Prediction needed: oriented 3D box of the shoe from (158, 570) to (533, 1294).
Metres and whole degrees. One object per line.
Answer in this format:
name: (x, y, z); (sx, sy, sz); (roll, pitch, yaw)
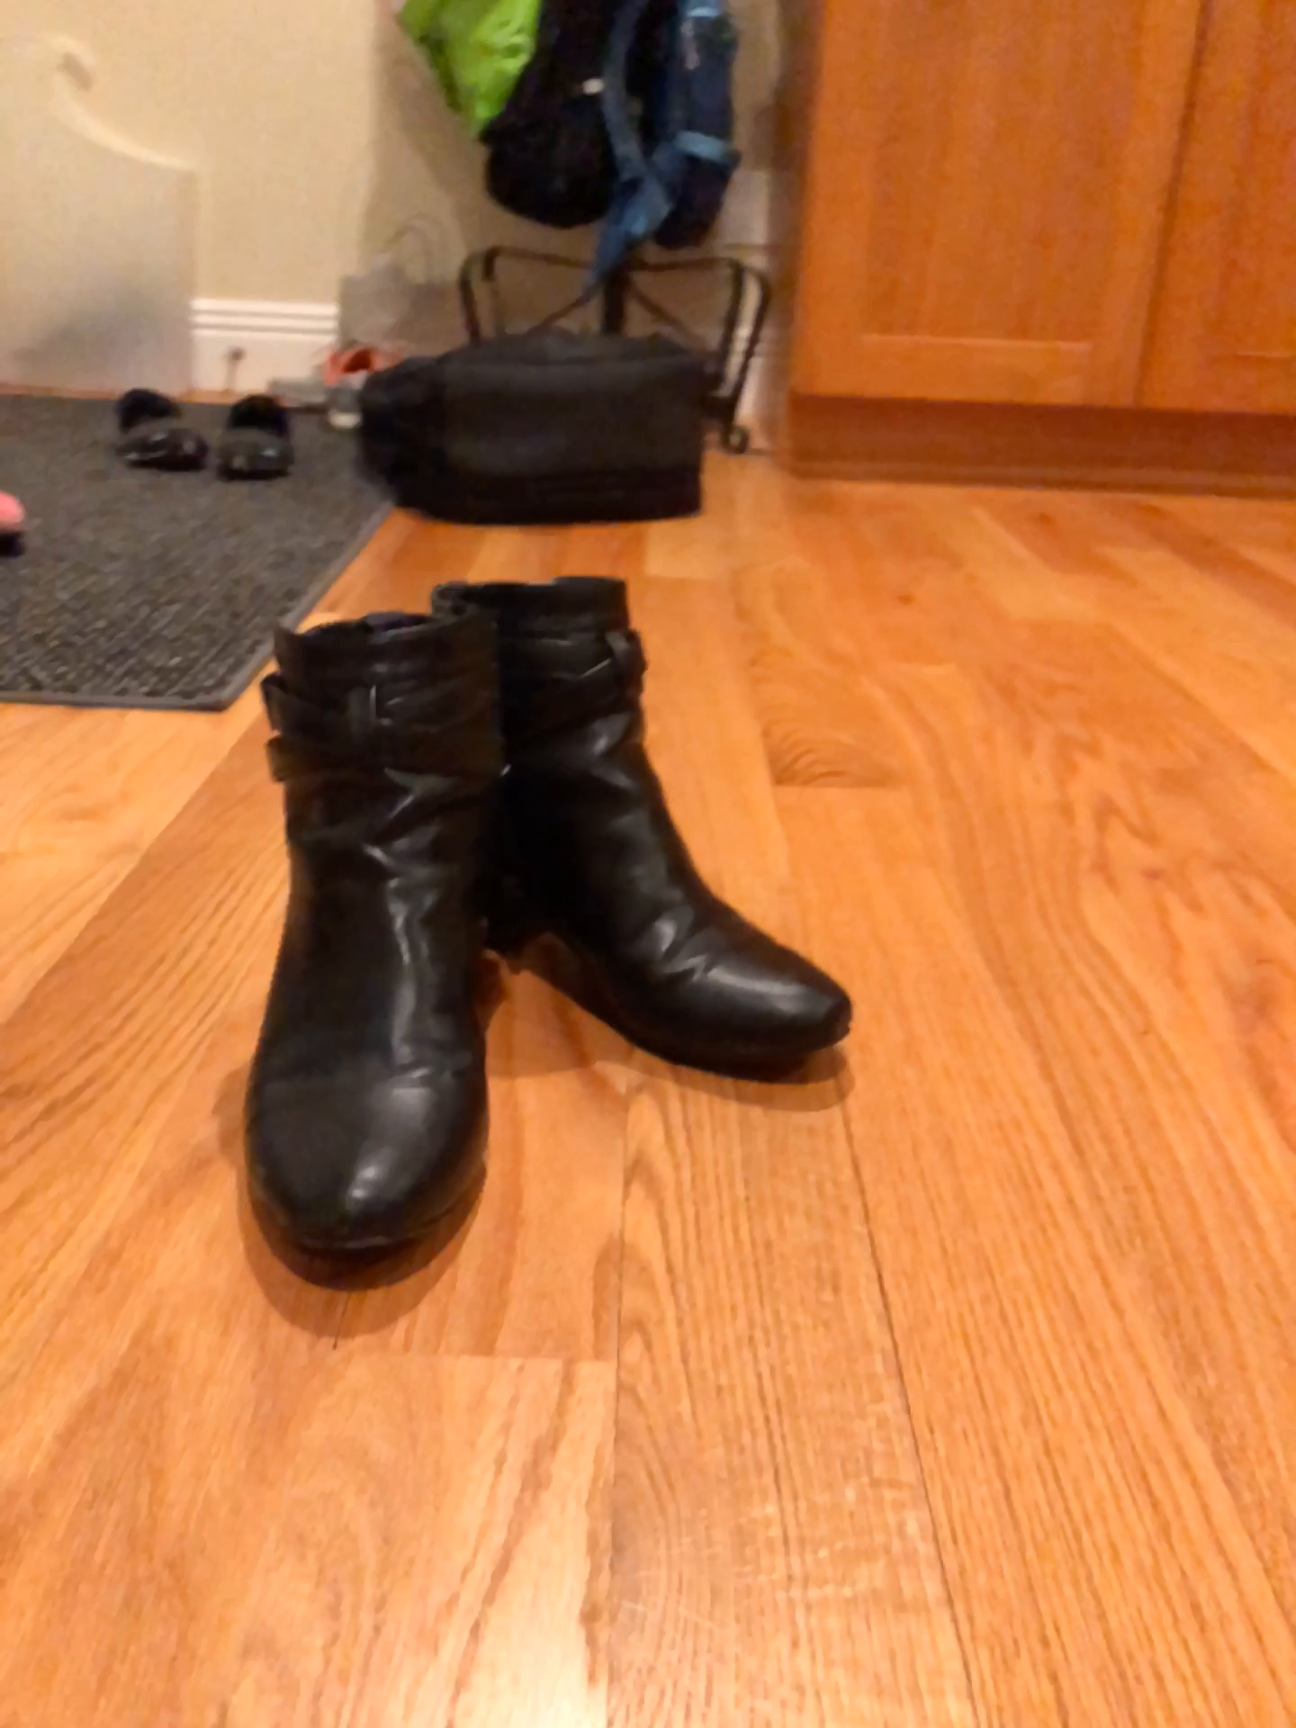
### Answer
shoe: (-0.090, 0.007, 0.509); (0.090, 0.172, 0.227); (1, 23, -3)

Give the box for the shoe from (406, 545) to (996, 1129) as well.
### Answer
shoe: (0.011, -0.024, 0.602); (0.226, 0.172, 0.090); (20, 28, 35)
